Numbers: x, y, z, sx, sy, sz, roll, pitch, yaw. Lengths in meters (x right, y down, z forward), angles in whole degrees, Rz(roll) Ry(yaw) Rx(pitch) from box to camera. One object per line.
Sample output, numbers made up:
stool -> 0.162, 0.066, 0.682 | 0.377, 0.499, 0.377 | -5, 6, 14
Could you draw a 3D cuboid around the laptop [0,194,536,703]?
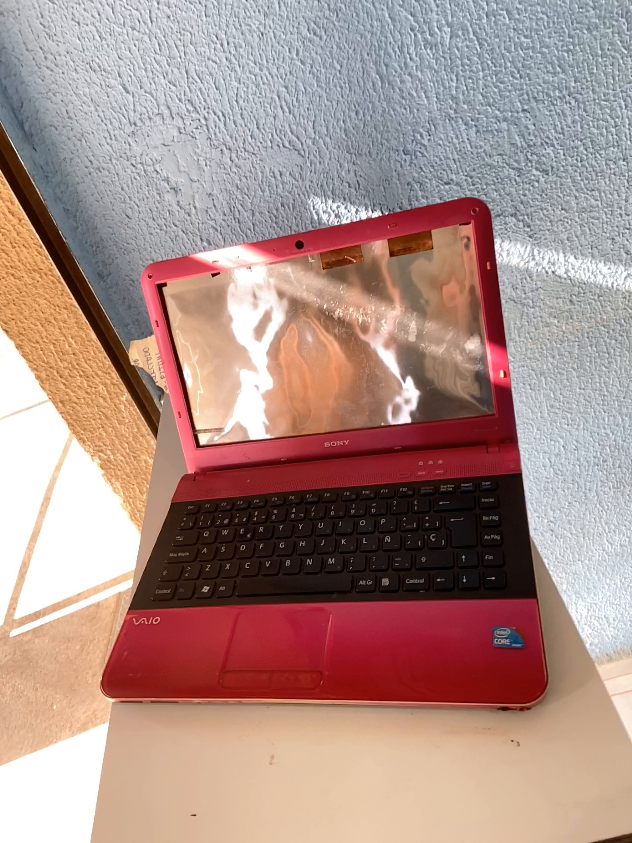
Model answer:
laptop -> -0.016, 0.011, 0.534 | 0.331, 0.187, 0.341 | -7, 40, 18
